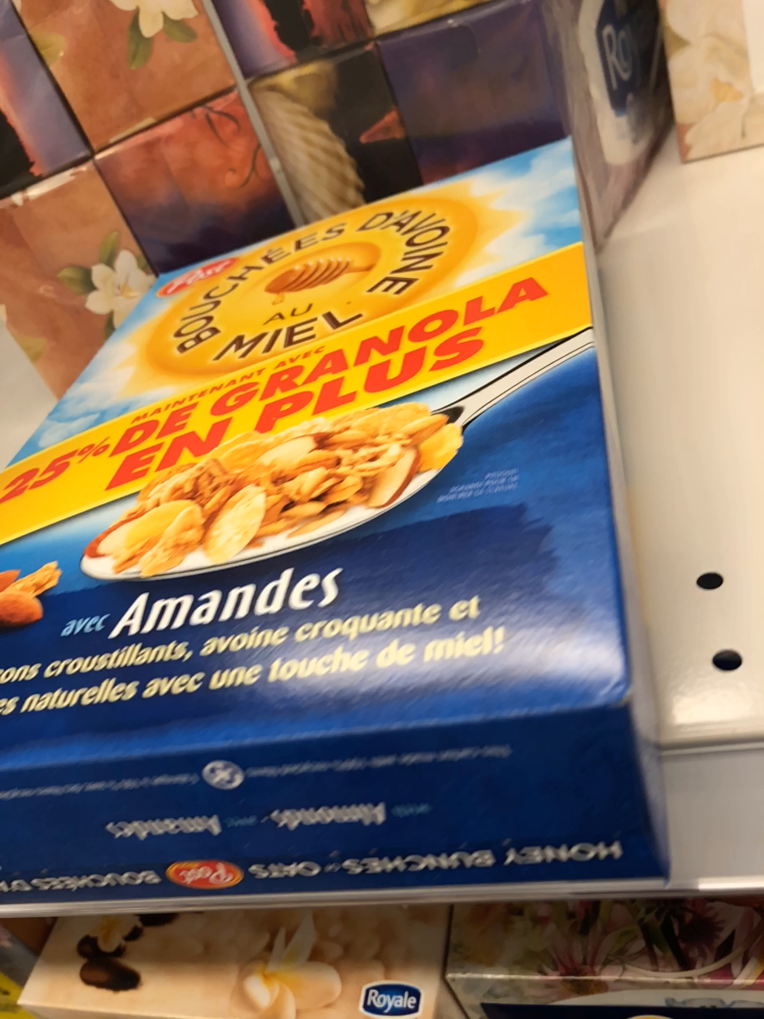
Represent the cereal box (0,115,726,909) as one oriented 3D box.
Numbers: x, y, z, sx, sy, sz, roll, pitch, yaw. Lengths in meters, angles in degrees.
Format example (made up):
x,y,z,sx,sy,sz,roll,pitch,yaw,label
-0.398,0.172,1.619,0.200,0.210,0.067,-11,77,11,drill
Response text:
x,y,z,sx,sy,sz,roll,pitch,yaw,label
-0.030,-0.025,0.266,0.210,0.050,0.271,-11,36,19,cereal box
